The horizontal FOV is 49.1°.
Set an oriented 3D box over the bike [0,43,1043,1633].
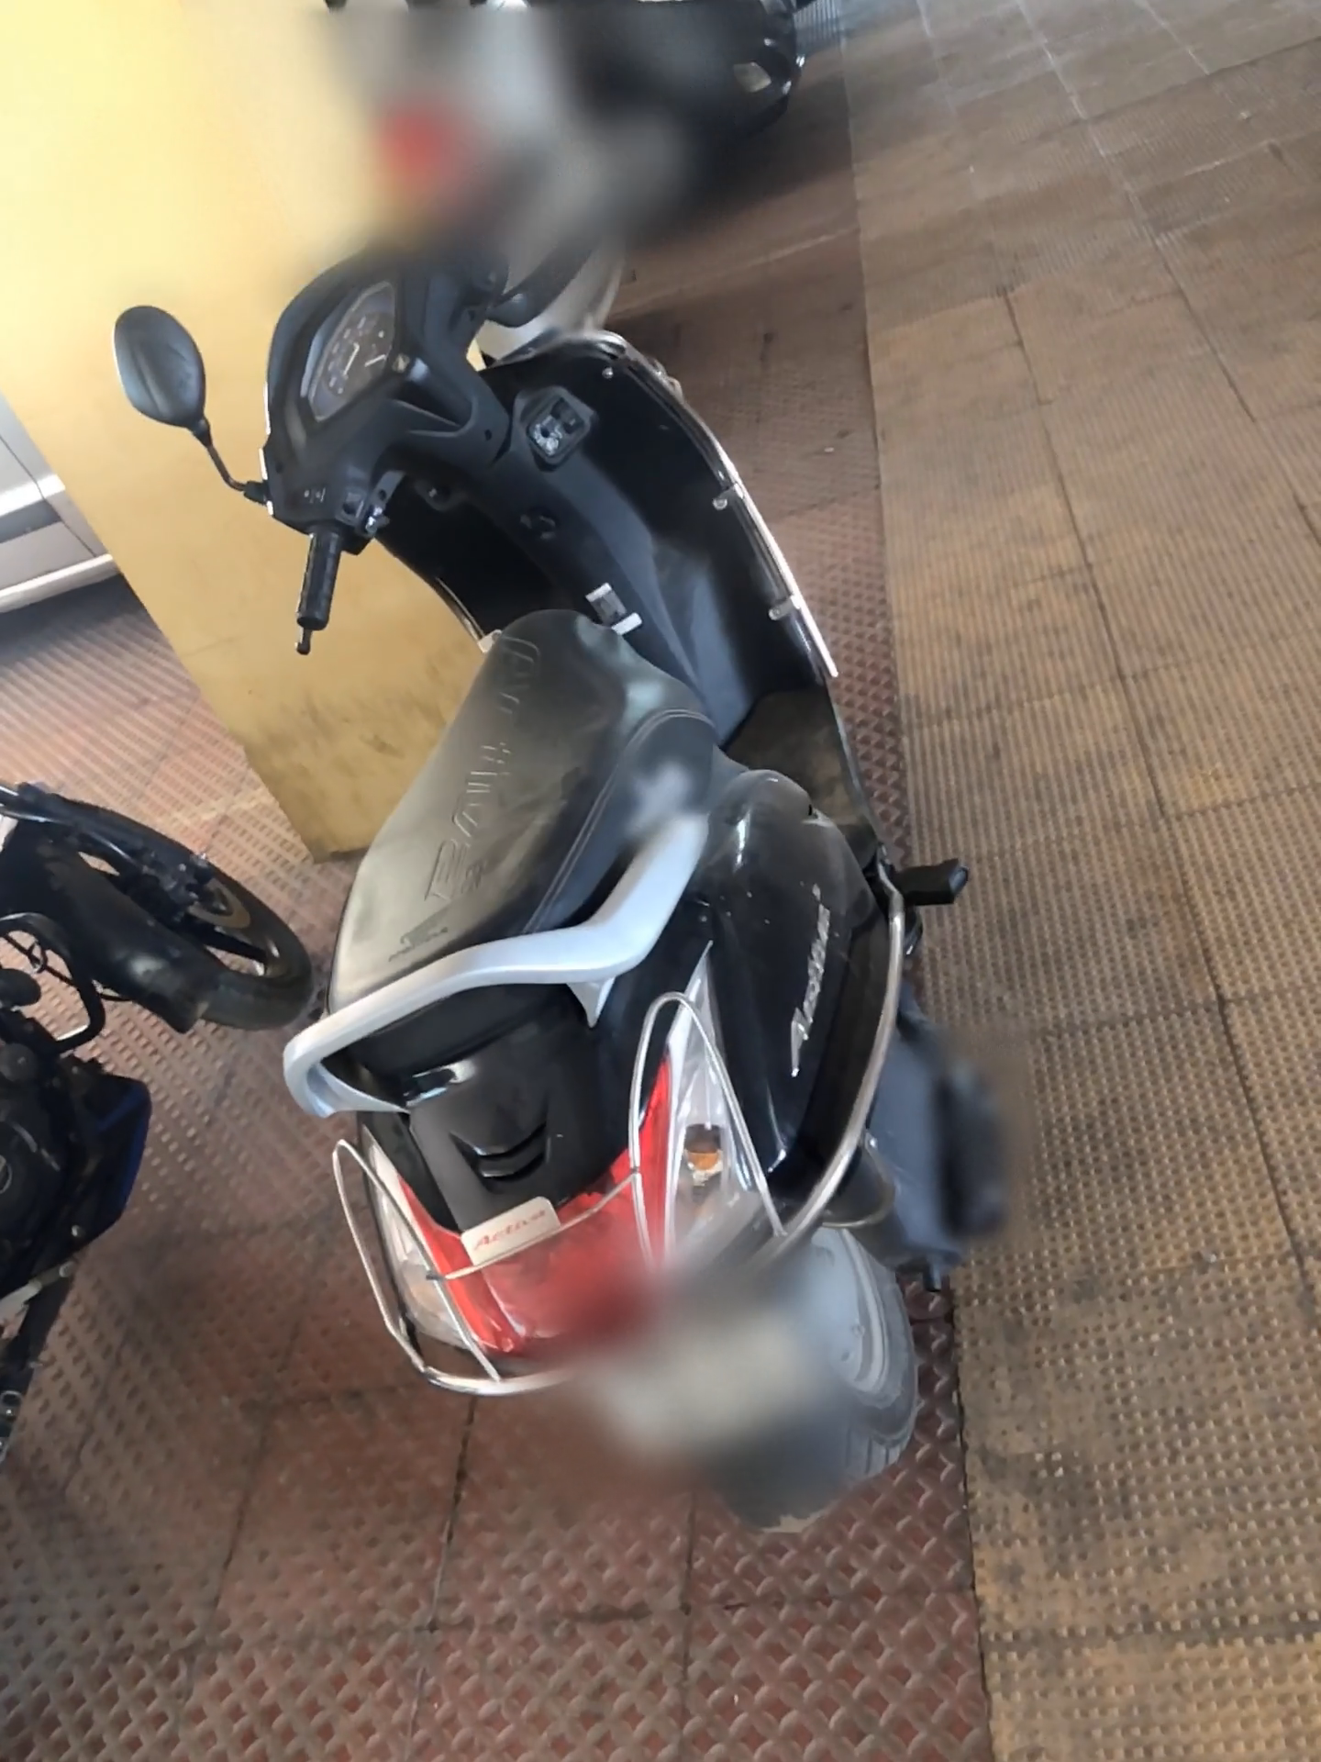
[{"bbox_3d":[-0.226,-0.141,1.778,0.607,1.172,1.448,-22,39,5],"label":"bike"}]
